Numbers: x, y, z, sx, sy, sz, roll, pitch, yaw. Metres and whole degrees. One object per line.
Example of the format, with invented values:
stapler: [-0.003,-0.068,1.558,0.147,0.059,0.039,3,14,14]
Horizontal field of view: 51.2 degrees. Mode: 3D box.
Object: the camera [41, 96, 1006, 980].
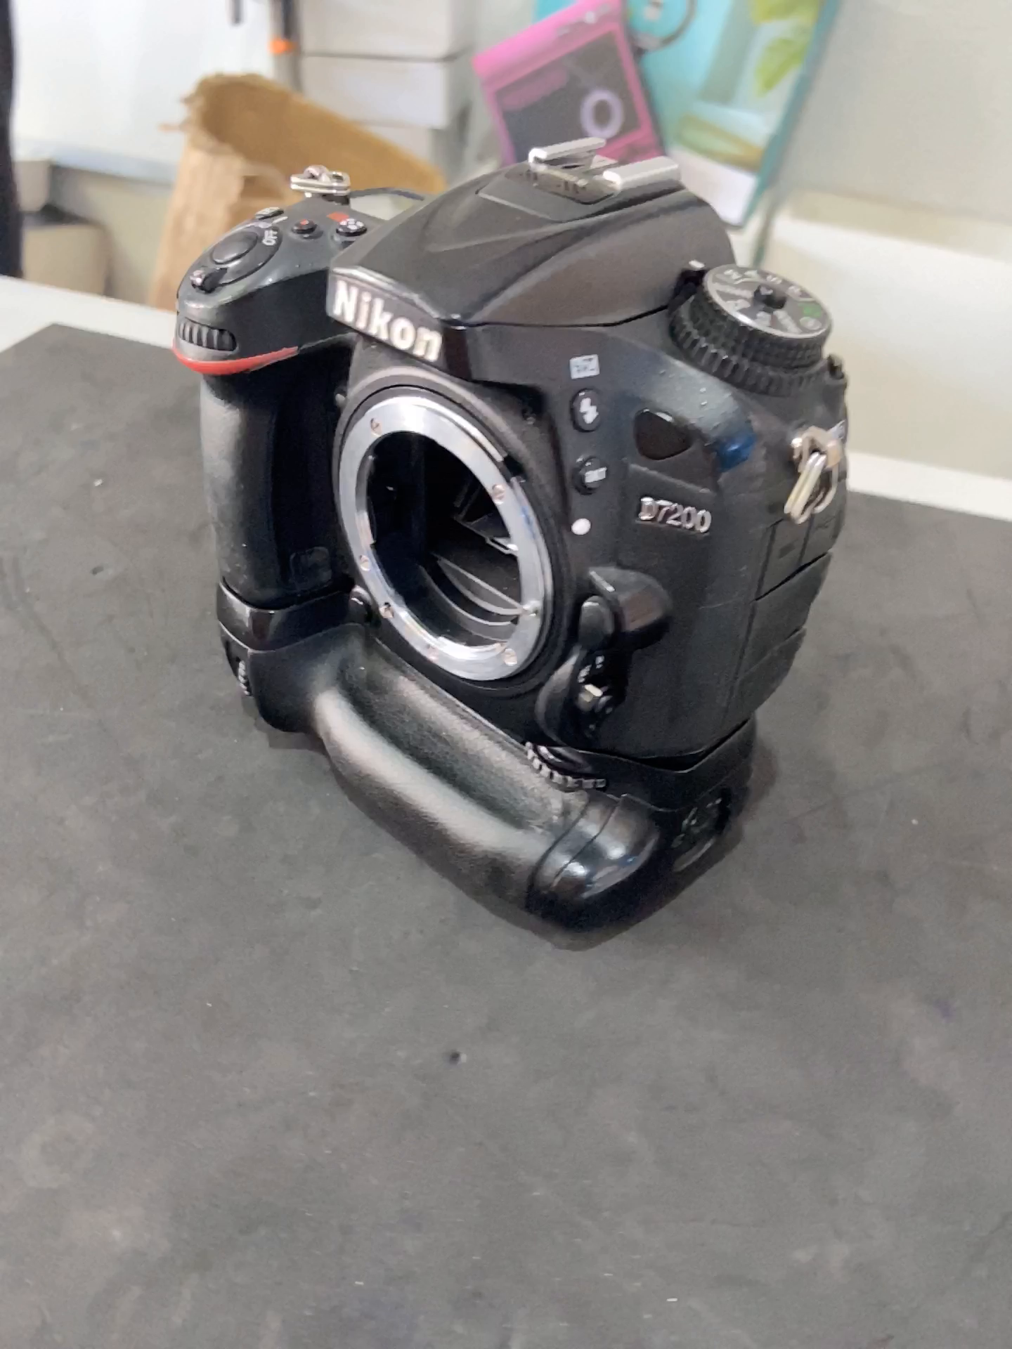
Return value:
camera: [-0.002,-0.042,0.221,0.140,0.109,0.100,32,47,30]
